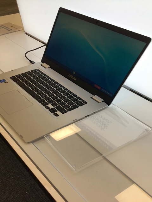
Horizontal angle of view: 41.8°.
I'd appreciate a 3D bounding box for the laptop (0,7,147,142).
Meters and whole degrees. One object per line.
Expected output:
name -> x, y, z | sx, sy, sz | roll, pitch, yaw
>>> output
laptop -> -0.092, -0.108, 0.596 | 0.356, 0.198, 0.342 | -29, 51, -25
